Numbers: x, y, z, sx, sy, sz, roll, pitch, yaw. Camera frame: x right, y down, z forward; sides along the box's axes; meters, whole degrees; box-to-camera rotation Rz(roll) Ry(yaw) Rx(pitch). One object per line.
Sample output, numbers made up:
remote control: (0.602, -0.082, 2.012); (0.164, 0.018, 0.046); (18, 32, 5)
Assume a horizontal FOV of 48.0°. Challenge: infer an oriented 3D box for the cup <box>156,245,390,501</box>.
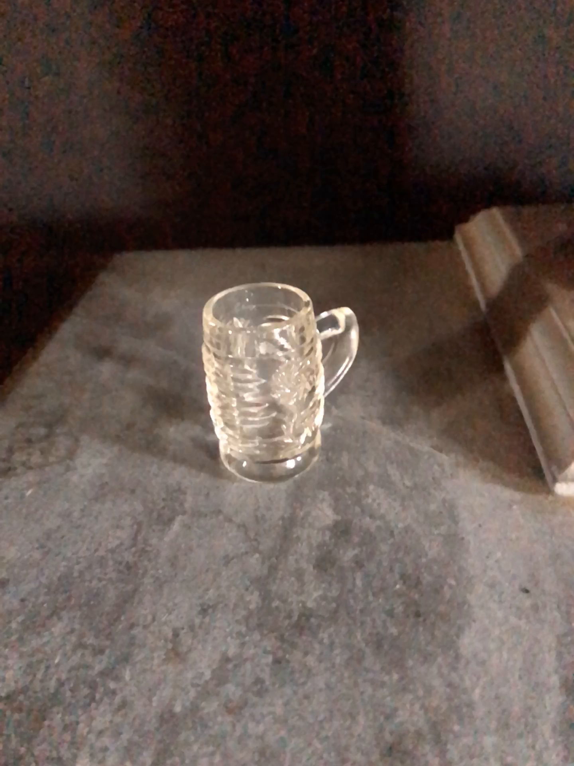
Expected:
cup: (-0.001, -0.006, 0.205); (0.040, 0.050, 0.060); (22, 42, 36)
